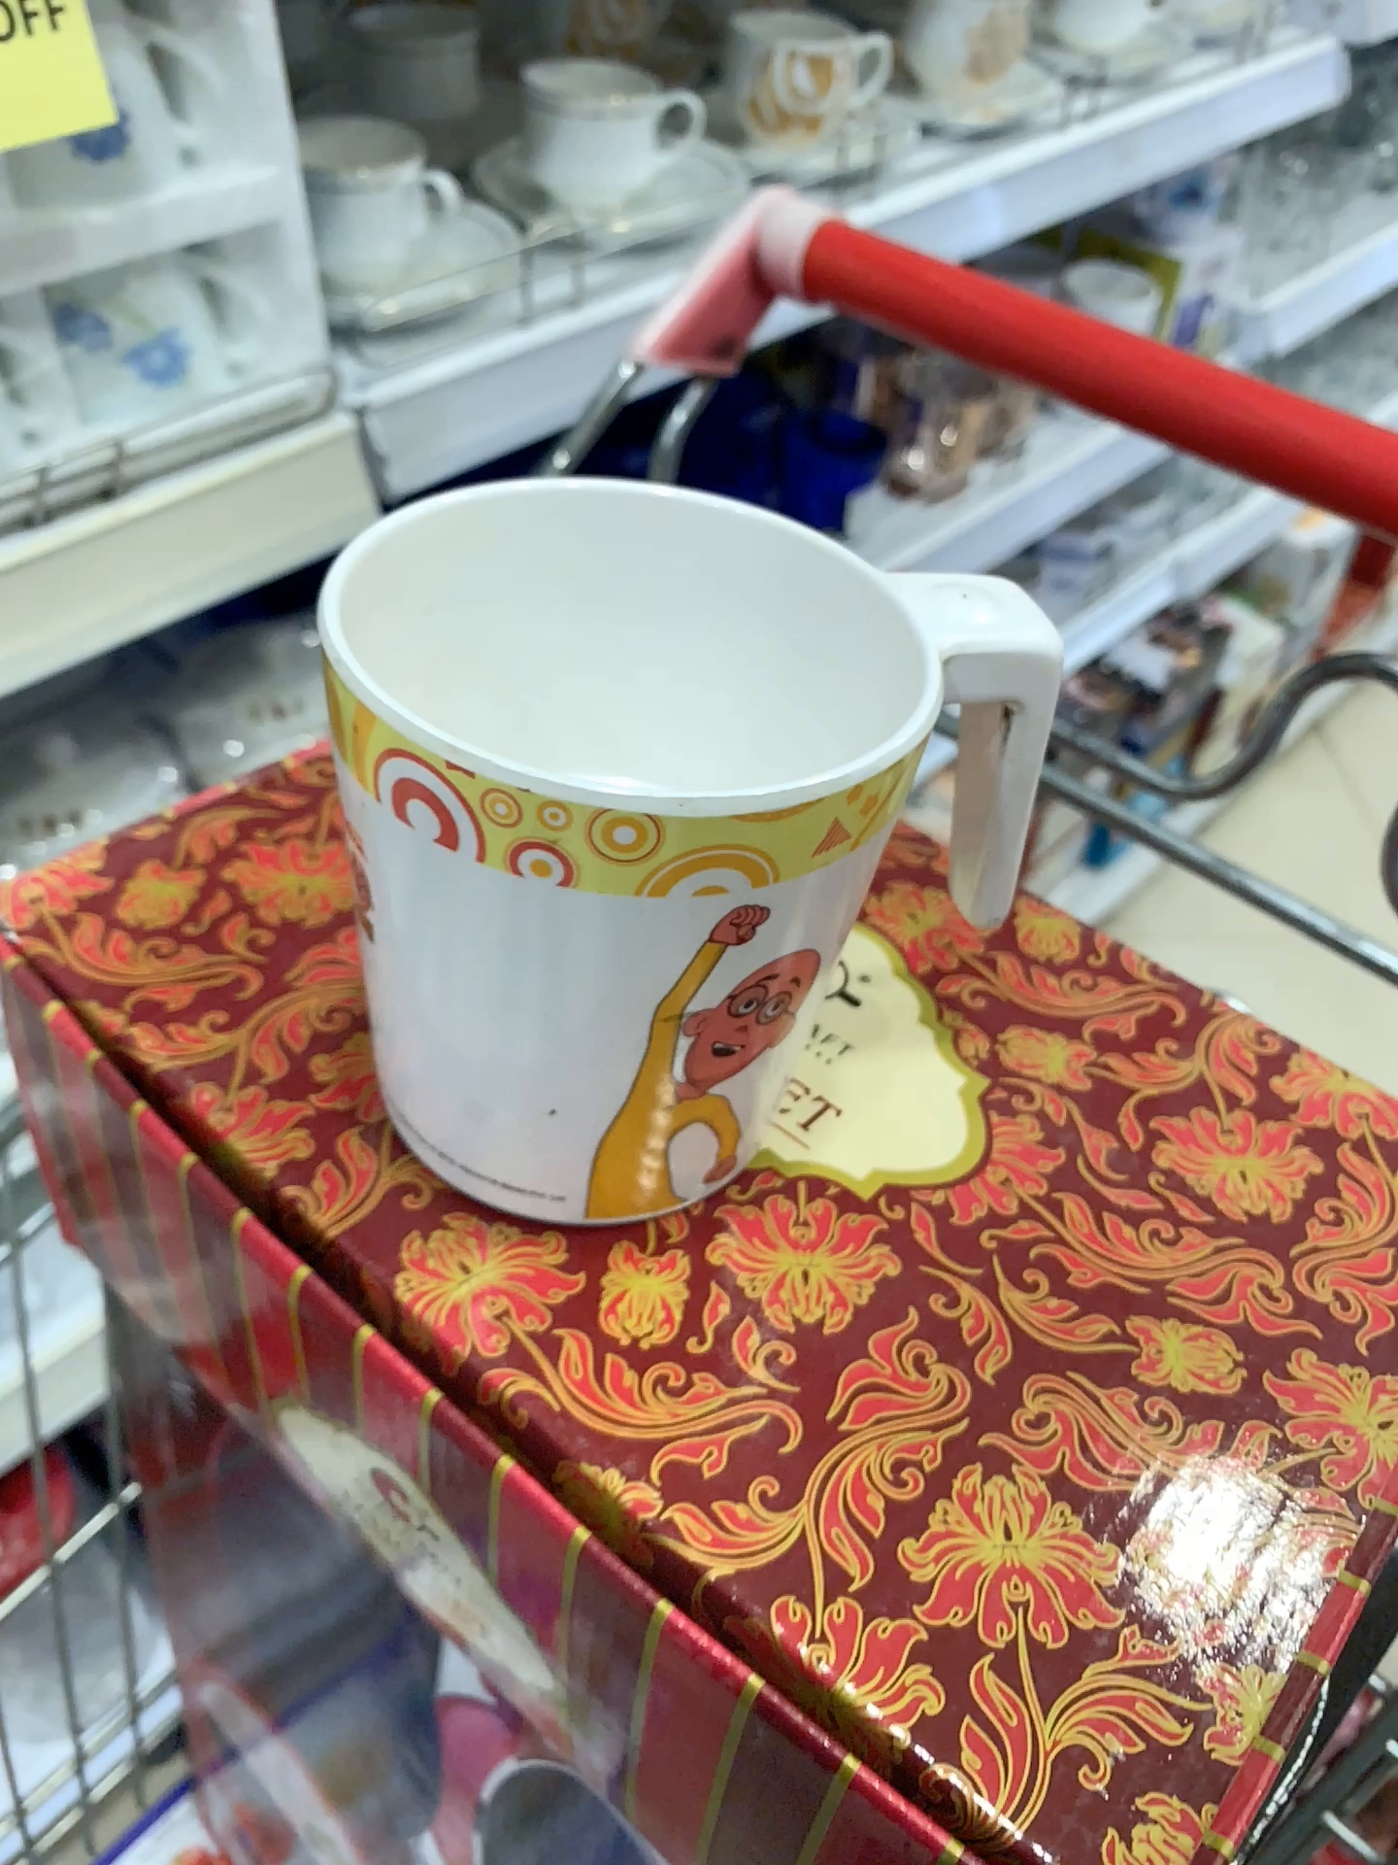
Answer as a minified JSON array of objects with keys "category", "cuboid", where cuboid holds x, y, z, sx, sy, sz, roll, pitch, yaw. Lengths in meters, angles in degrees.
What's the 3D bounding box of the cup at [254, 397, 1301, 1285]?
[{"category":"cup","cuboid":[0.002,-0.018,0.212,0.110,0.080,0.080,-10,47,-20]}]
